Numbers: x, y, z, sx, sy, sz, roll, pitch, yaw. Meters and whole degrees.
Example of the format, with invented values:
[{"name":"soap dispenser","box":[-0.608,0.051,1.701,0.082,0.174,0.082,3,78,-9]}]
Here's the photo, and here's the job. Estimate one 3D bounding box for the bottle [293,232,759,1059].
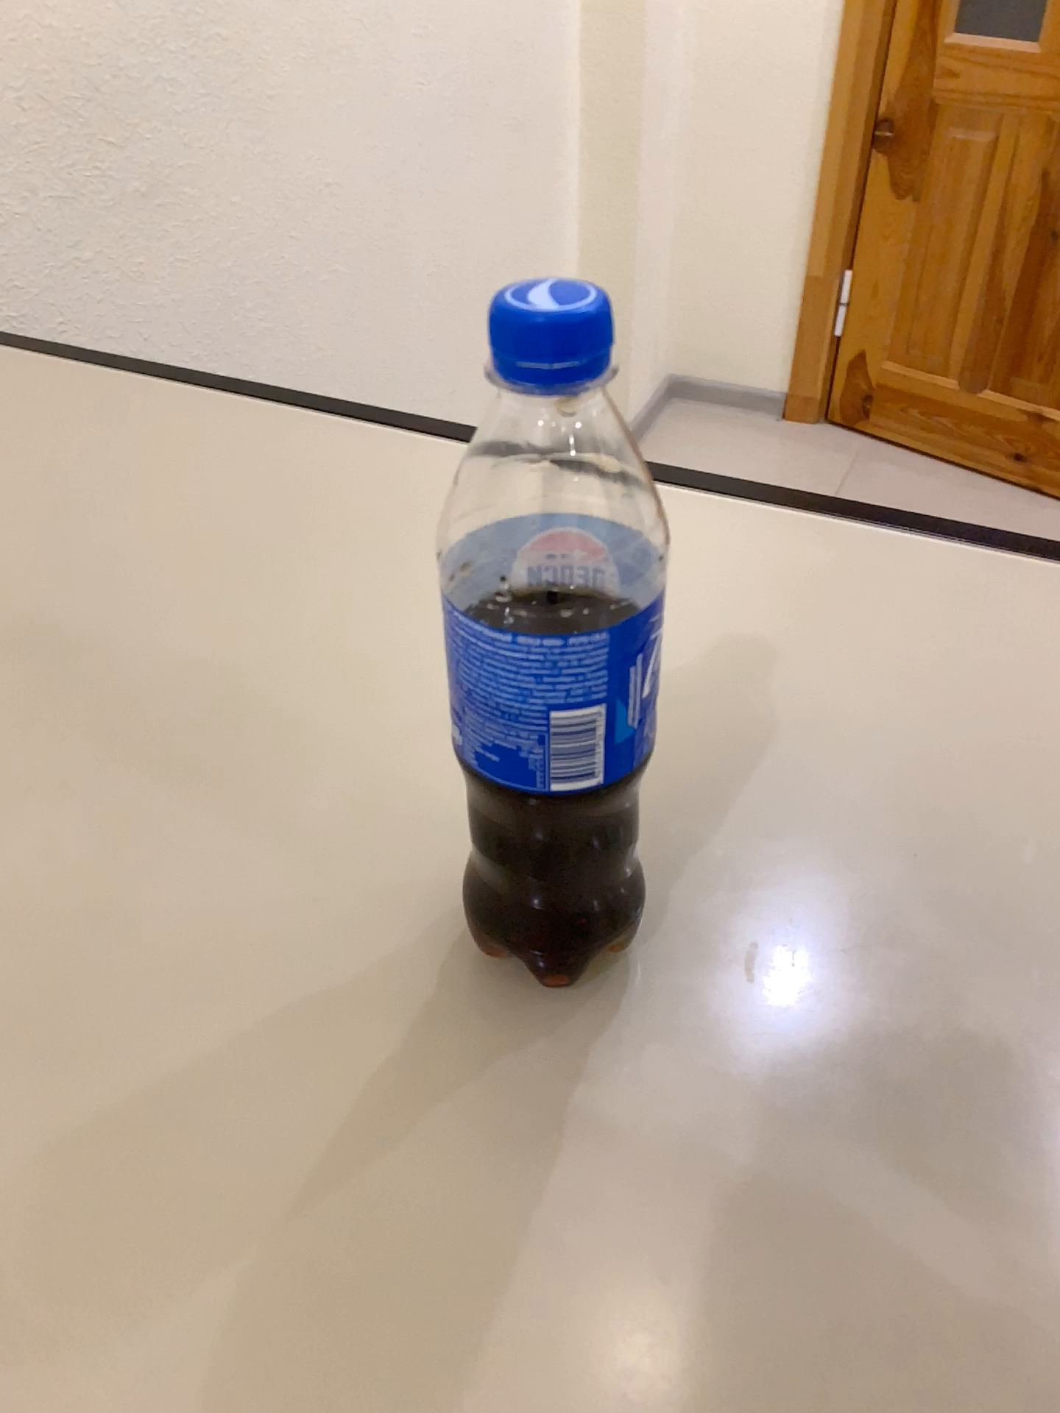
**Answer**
[{"name":"bottle","box":[-0.001,-0.008,0.331,0.080,0.229,0.080,-1,39,0]}]
